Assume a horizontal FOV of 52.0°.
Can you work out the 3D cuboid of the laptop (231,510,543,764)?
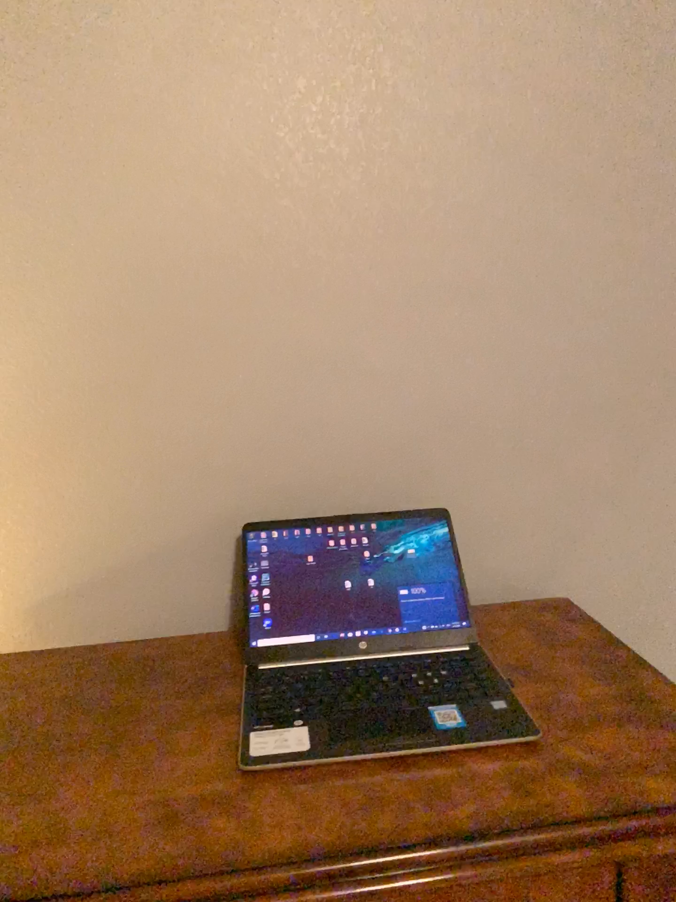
[{"bbox_3d":[0.035,0.205,0.890,0.317,0.152,0.368,-3,9,-6],"label":"laptop"}]
